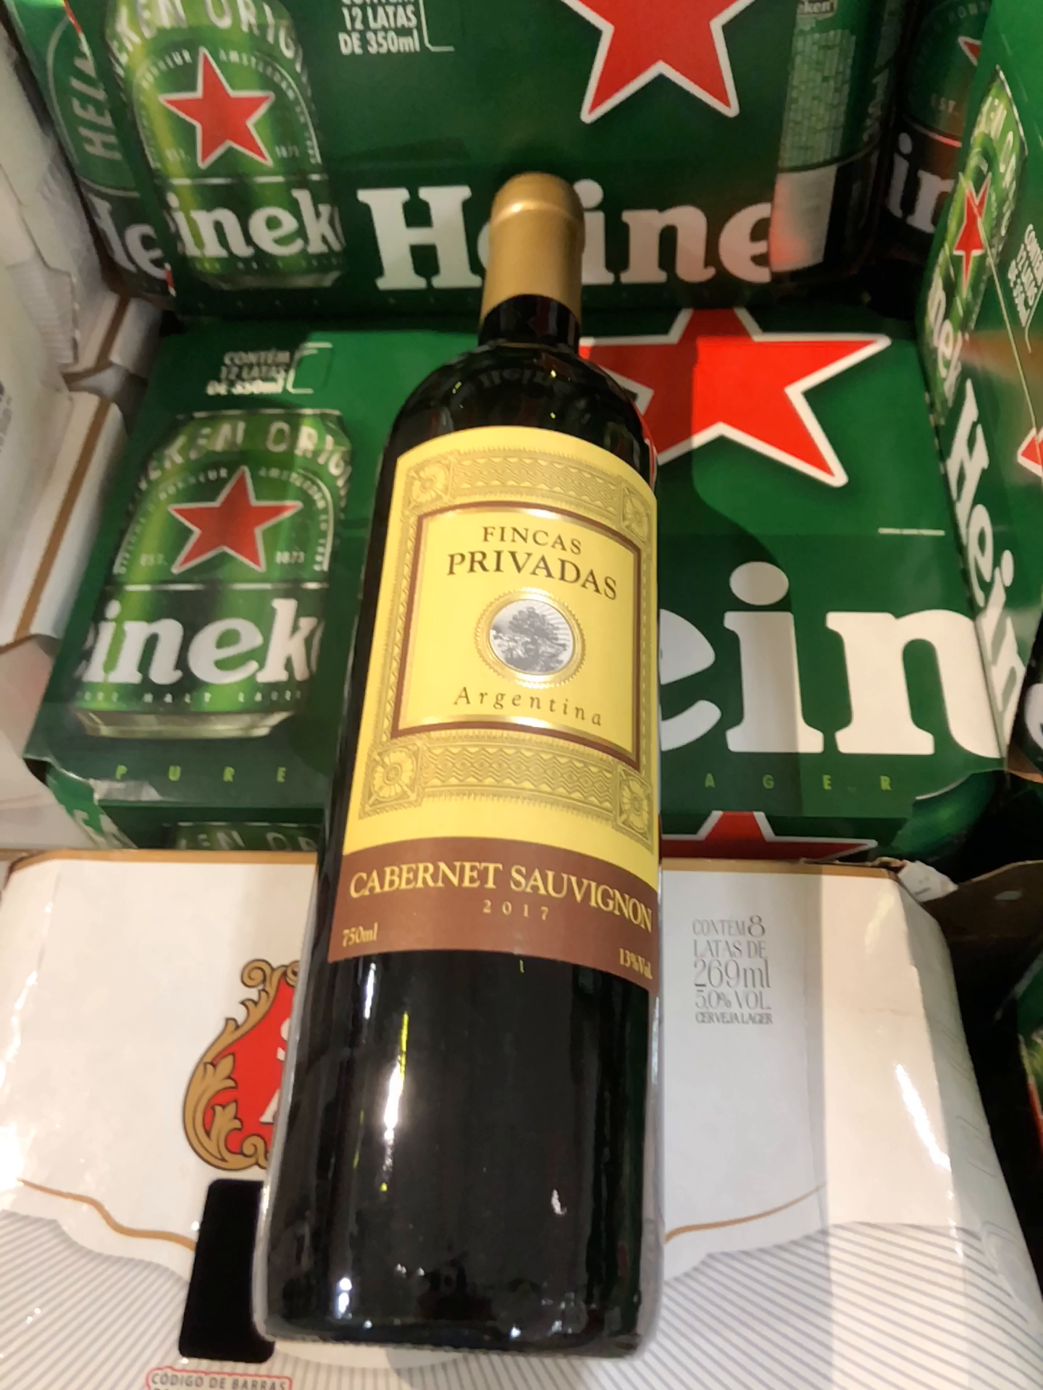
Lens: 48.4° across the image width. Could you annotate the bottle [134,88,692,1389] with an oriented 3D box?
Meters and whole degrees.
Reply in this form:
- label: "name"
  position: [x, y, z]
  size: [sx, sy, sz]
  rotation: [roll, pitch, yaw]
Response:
- label: "bottle"
  position: [-0.001, -0.026, 0.280]
  size: [0.080, 0.060, 0.332]
  rotation: [1, 56, 6]
